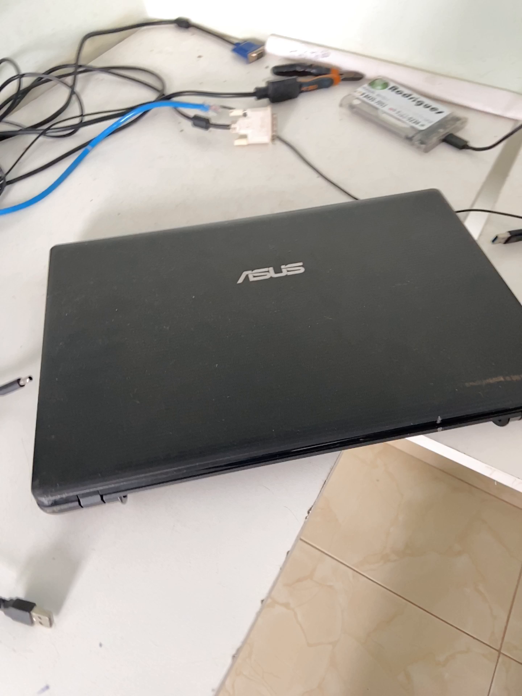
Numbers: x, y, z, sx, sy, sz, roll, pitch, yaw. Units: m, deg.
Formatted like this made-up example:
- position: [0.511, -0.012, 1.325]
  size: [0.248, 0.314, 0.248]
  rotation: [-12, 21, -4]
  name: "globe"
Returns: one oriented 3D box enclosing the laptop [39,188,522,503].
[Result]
- position: [0.017, -0.030, 0.447]
  size: [0.381, 0.010, 0.254]
  rotation: [-10, 51, -5]
  name: "laptop"
